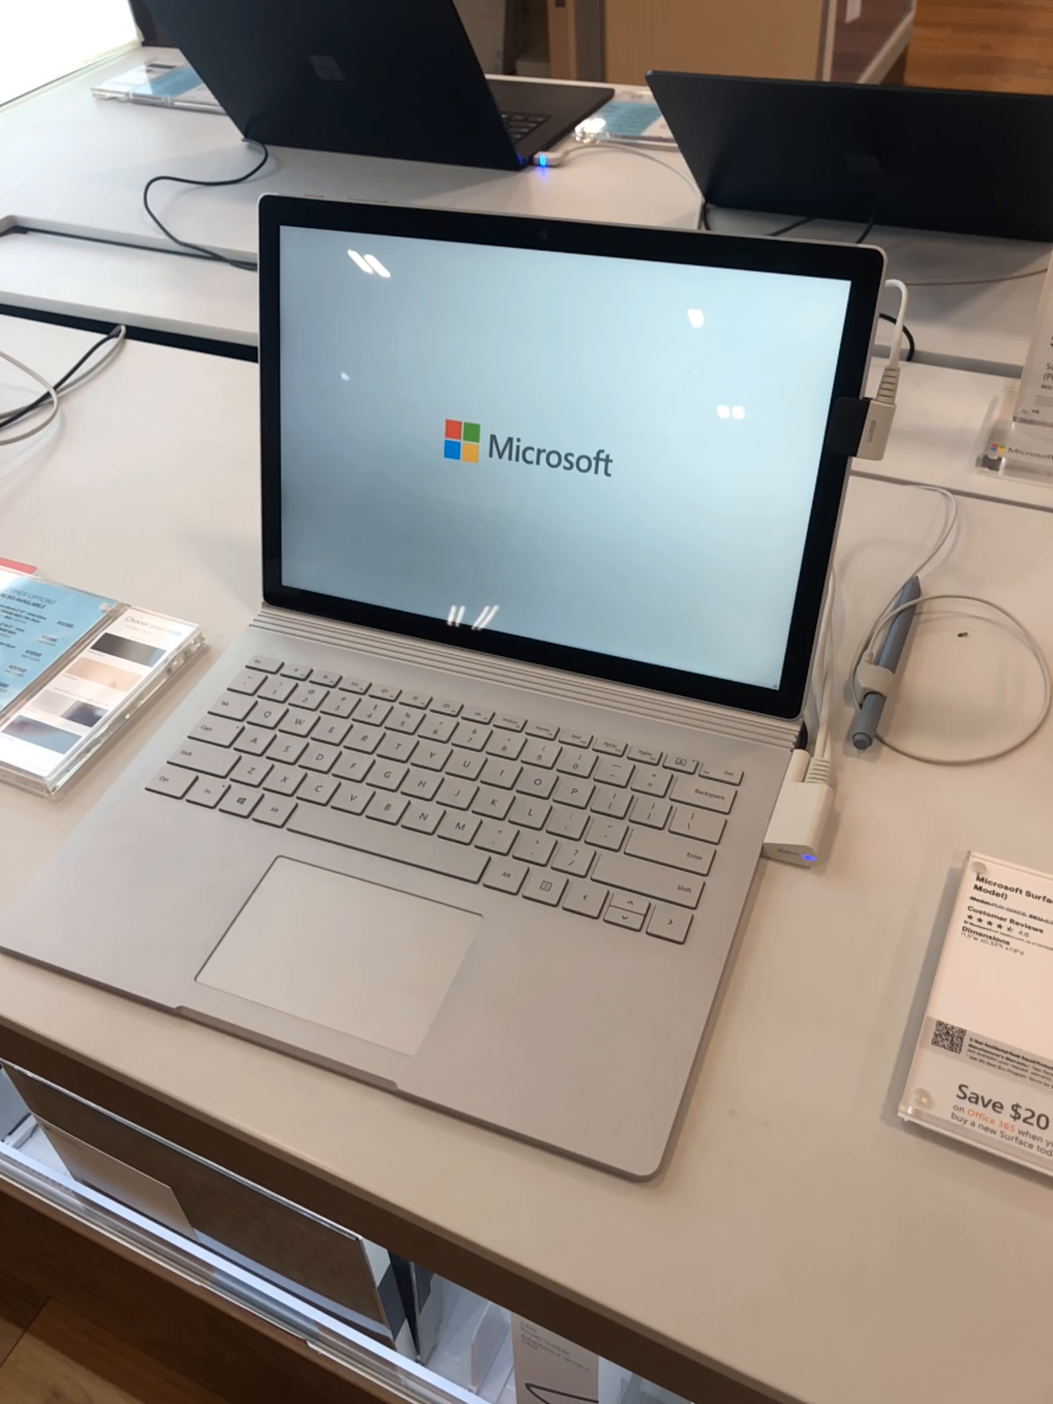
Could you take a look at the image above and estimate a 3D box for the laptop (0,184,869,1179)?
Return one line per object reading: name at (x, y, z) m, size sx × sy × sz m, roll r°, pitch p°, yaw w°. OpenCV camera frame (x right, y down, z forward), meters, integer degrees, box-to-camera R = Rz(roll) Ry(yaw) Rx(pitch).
laptop at (-0.046, -0.044, 0.482) m, size 0.291 × 0.191 × 0.312 m, roll 13°, pitch 47°, yaw 19°
